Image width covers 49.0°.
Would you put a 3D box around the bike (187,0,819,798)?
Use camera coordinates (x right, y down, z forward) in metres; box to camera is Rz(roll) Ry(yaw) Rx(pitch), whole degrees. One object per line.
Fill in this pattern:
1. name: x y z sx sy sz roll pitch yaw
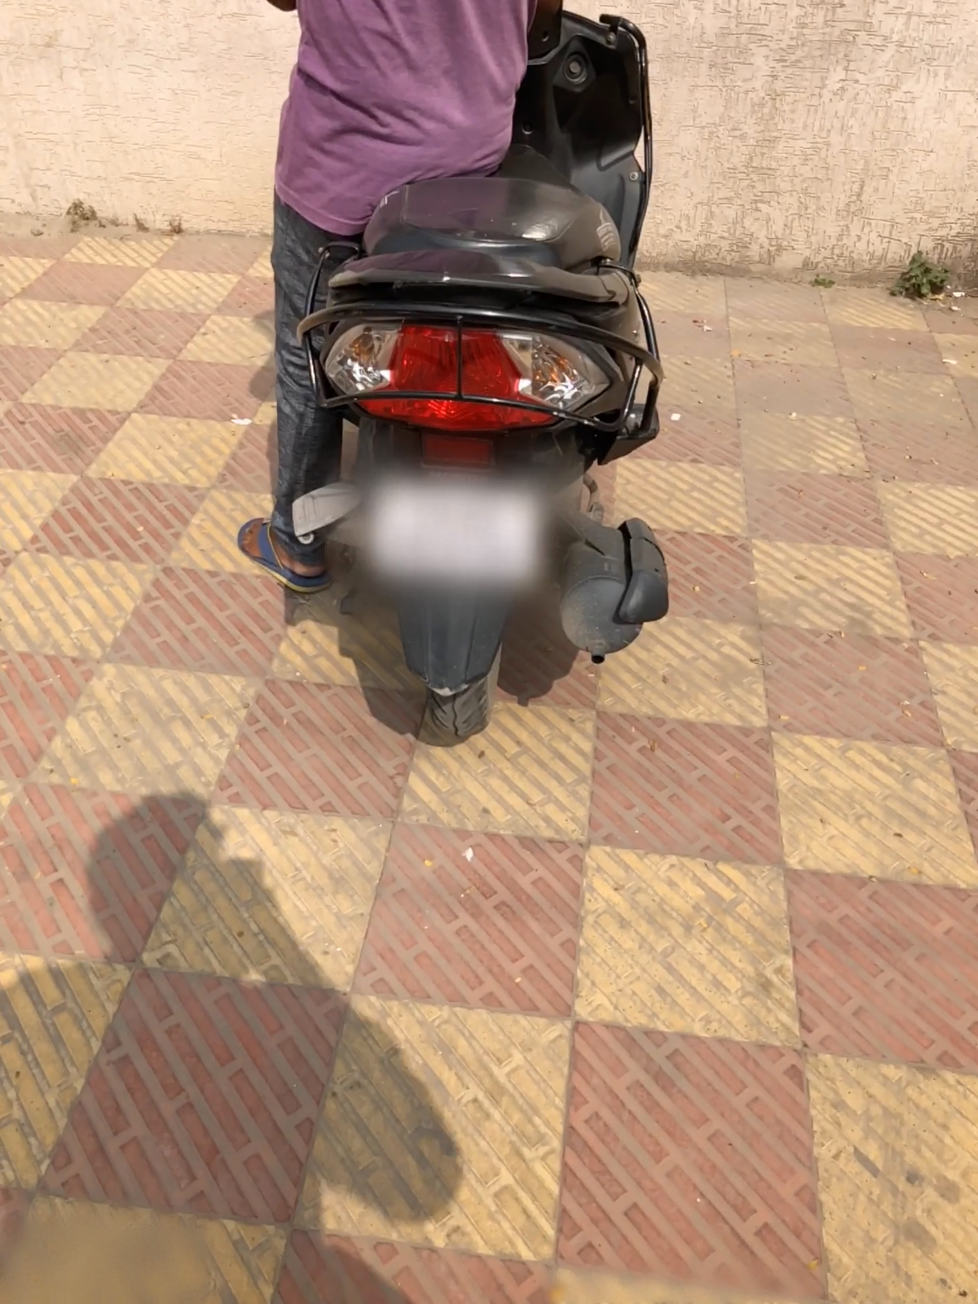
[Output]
1. bike: 0.007 -0.648 1.886 0.574 0.987 1.516 2 39 0
